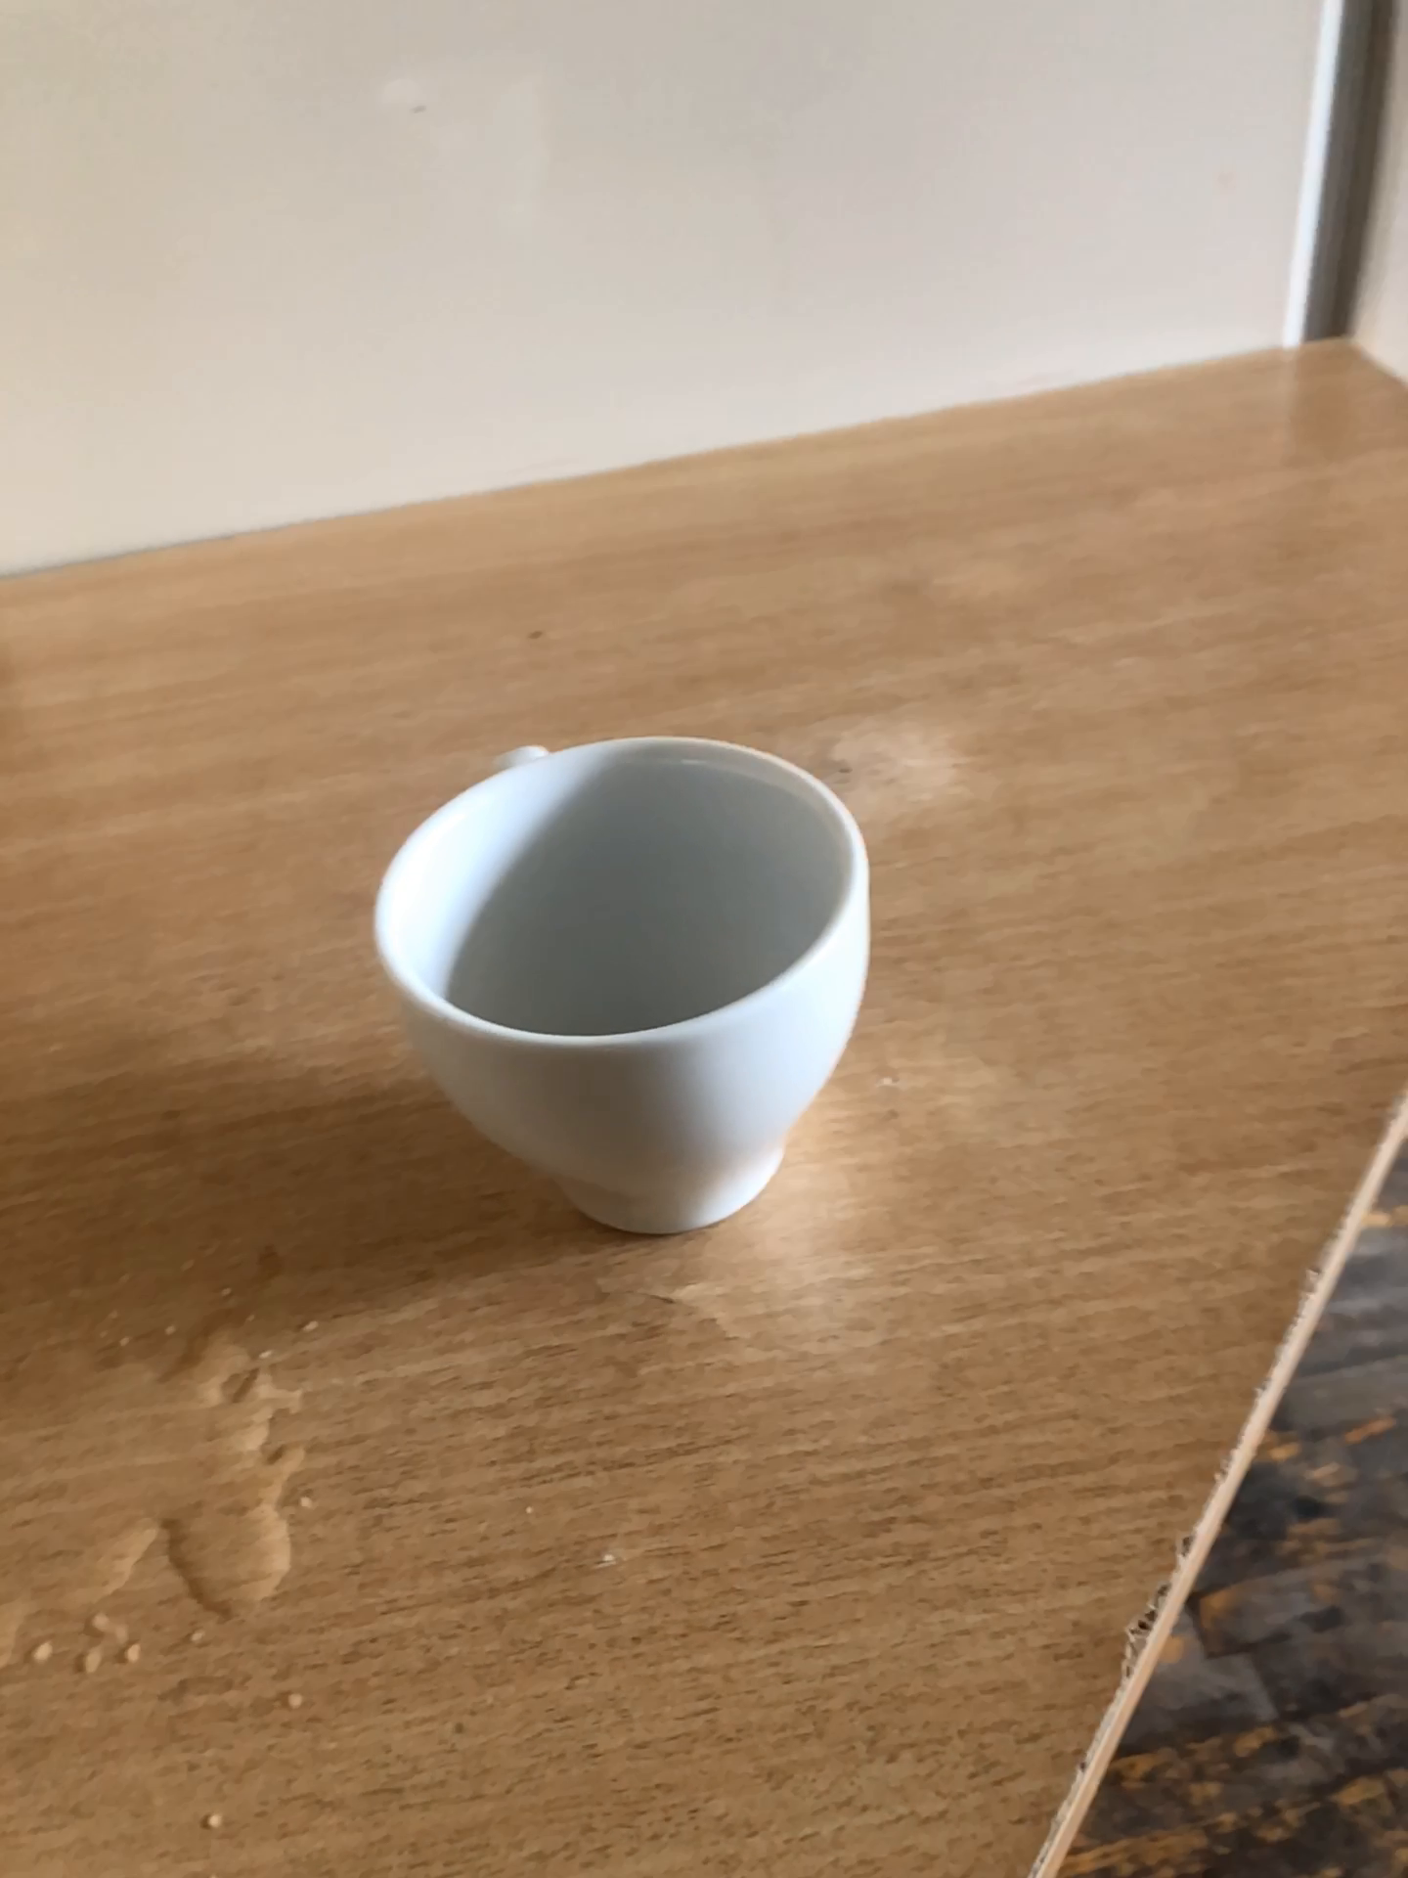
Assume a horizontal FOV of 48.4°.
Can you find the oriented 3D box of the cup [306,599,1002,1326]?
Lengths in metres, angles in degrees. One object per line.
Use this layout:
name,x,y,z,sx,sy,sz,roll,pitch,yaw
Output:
cup,-0.011,-0.003,0.270,0.080,0.050,0.105,-21,42,-14
